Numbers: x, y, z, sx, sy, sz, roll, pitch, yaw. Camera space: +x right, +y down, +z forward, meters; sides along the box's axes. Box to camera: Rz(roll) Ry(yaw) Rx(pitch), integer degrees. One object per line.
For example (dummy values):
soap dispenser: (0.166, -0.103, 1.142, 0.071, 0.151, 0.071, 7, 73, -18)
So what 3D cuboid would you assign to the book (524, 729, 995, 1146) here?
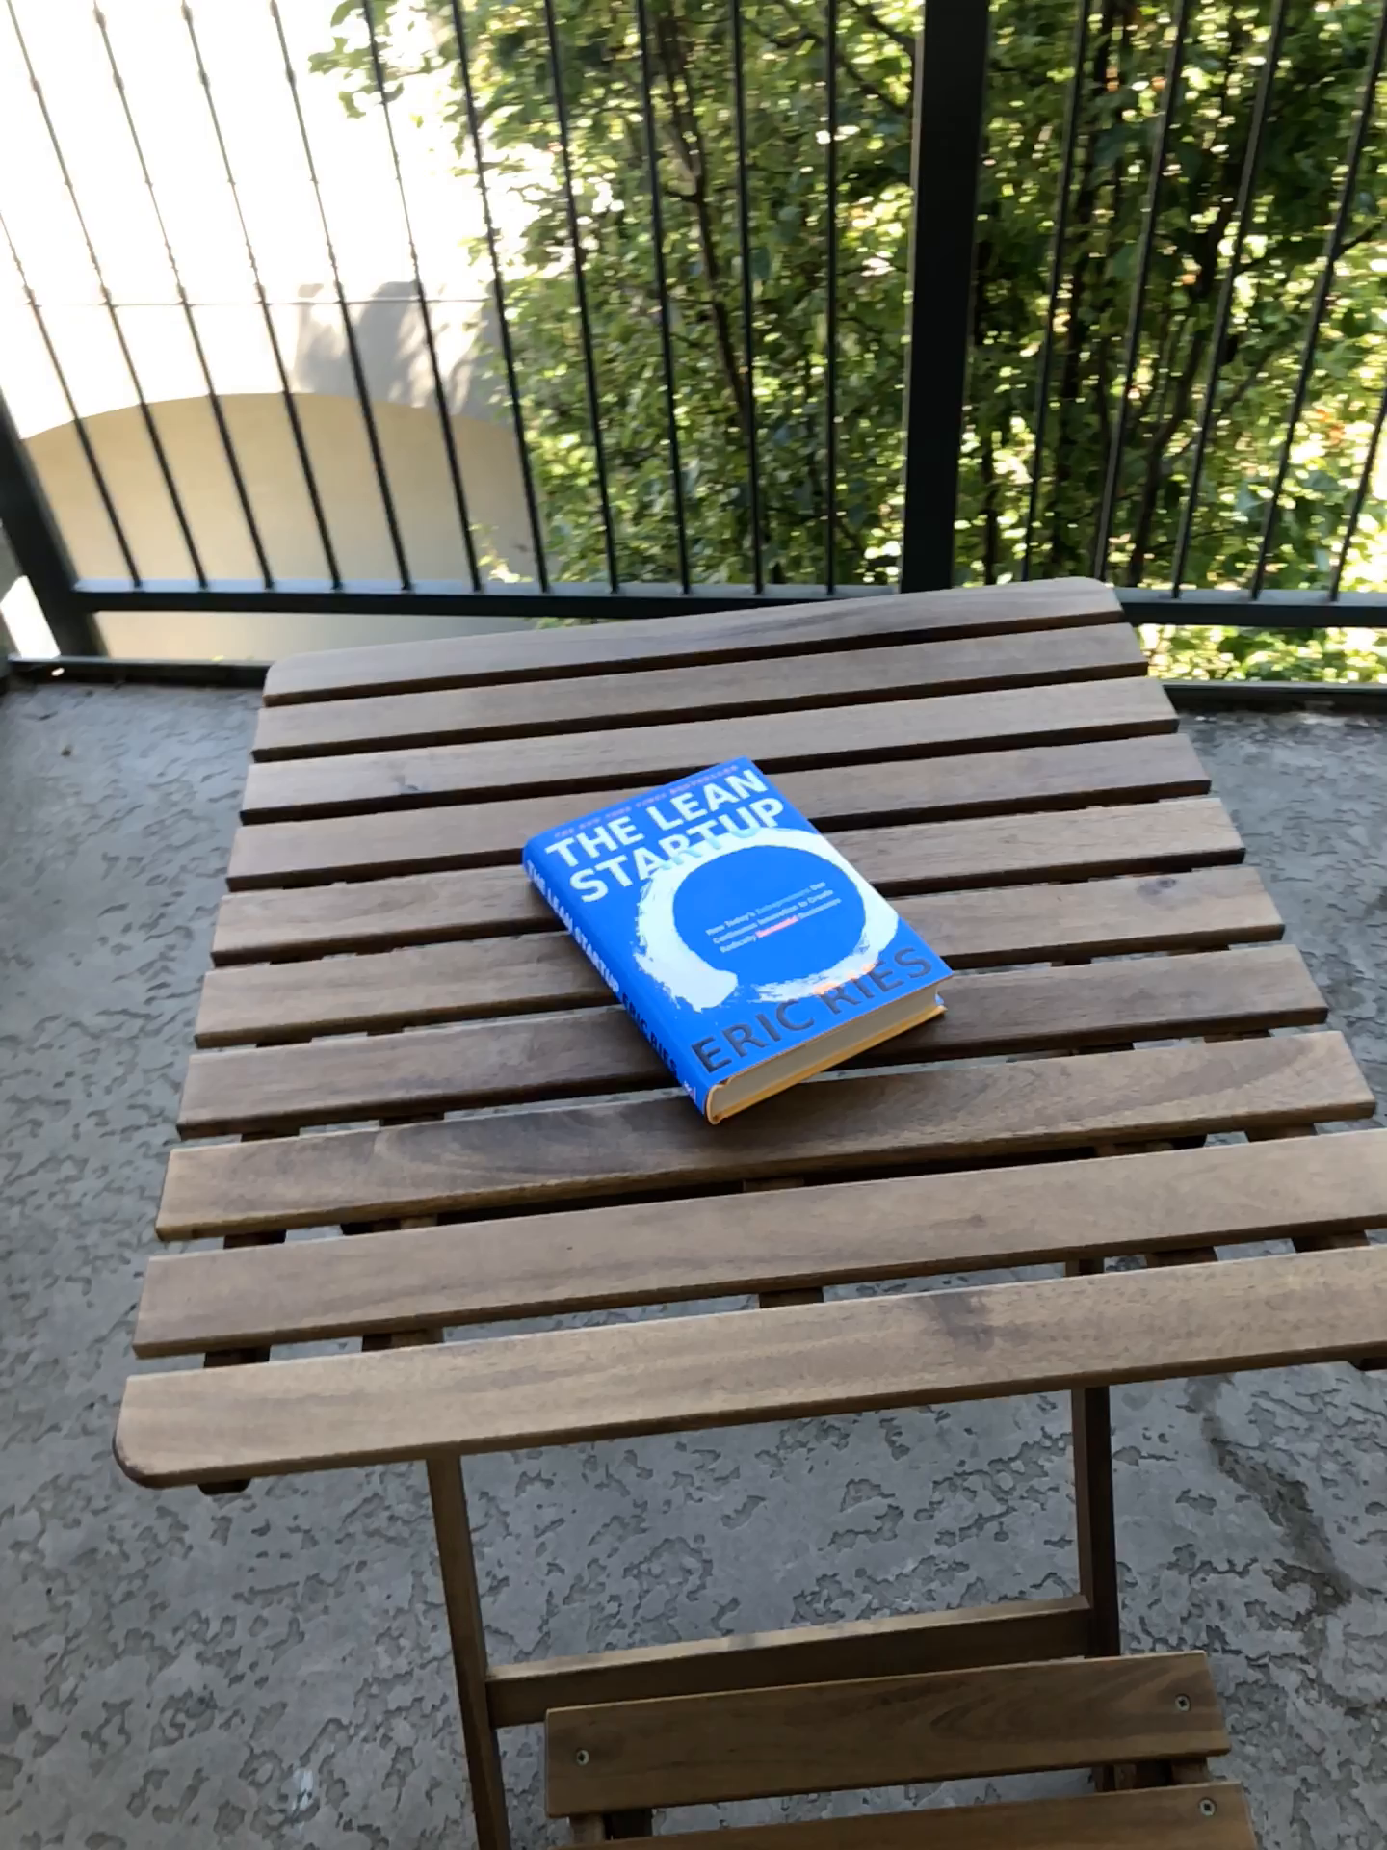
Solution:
book: (0.029, -0.005, 0.840, 0.160, 0.040, 0.231, -23, 48, -17)
